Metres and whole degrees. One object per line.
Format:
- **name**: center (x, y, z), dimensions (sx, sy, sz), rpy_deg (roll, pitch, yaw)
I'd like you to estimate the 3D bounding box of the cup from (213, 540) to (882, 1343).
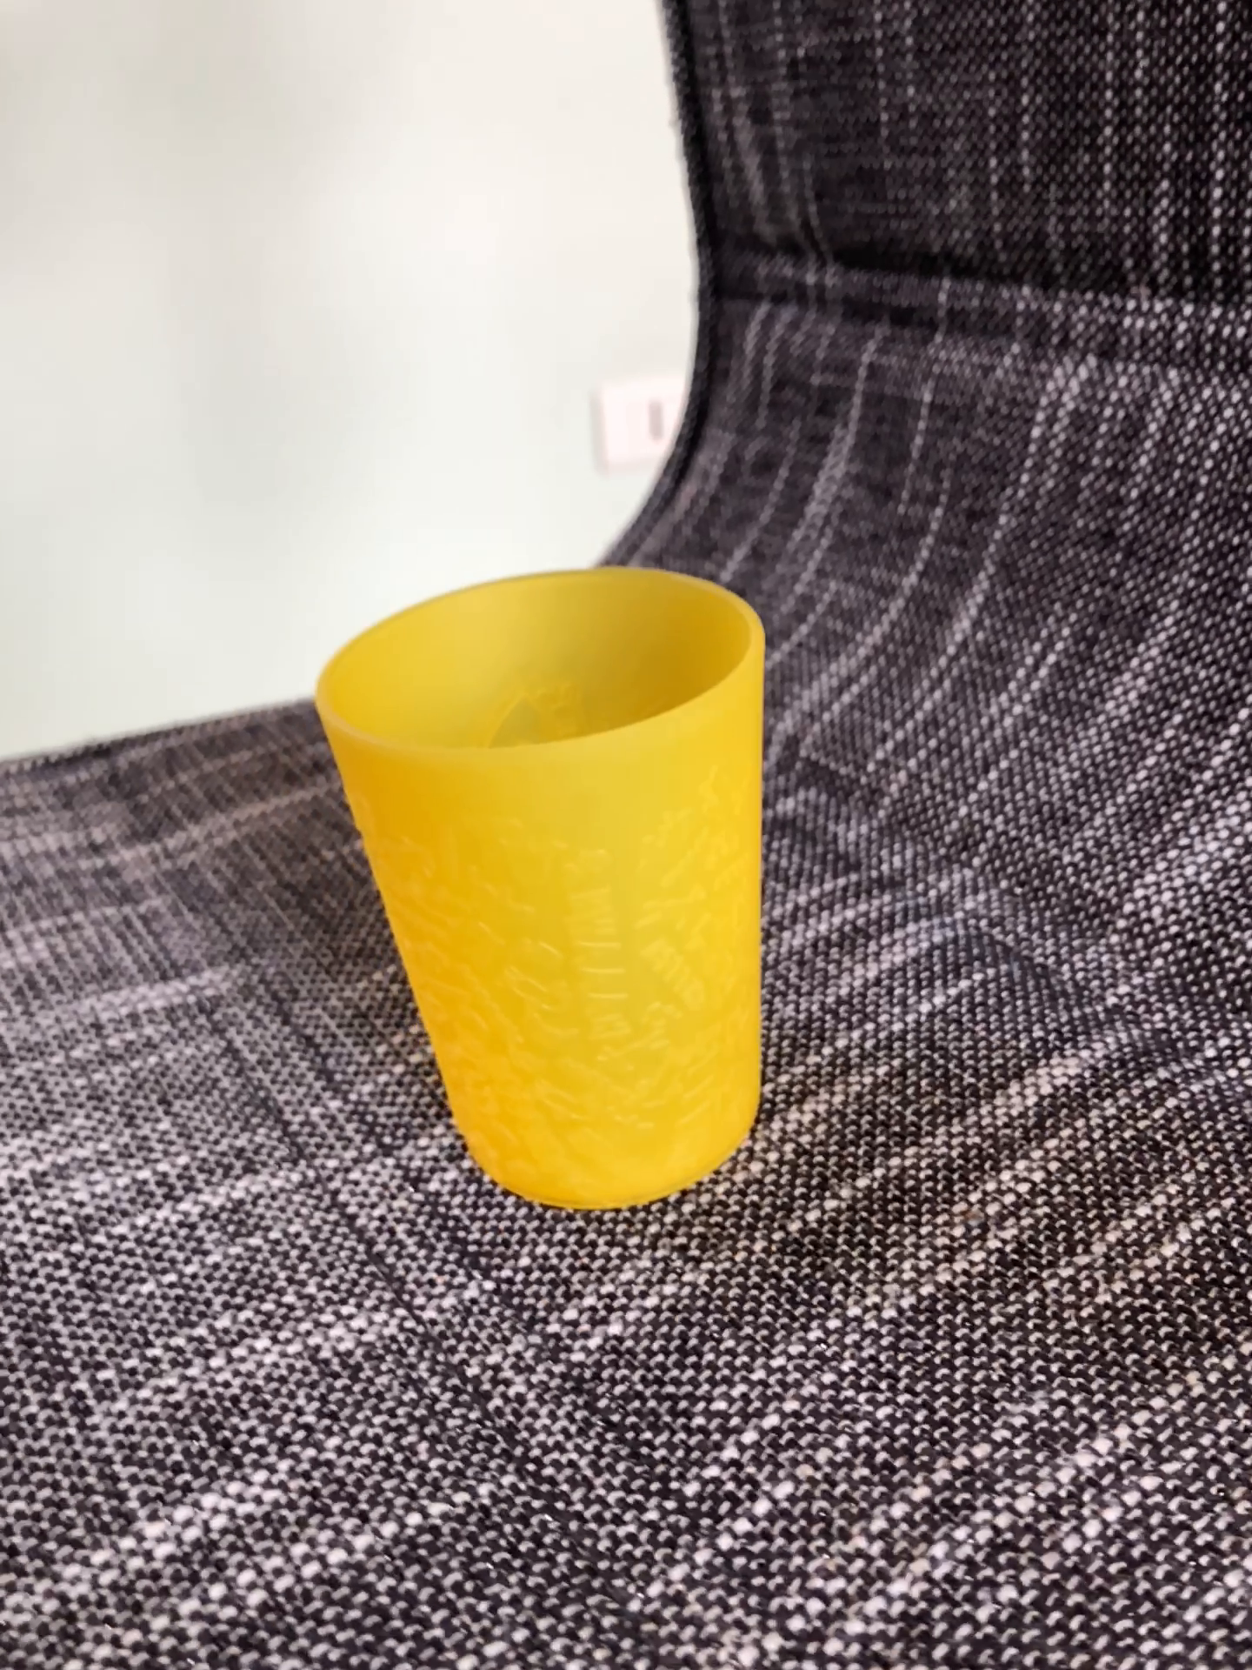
- **cup**: center (-0.007, 0.011, 0.201), dimensions (0.060, 0.080, 0.060), rpy_deg (-6, 31, 4)
